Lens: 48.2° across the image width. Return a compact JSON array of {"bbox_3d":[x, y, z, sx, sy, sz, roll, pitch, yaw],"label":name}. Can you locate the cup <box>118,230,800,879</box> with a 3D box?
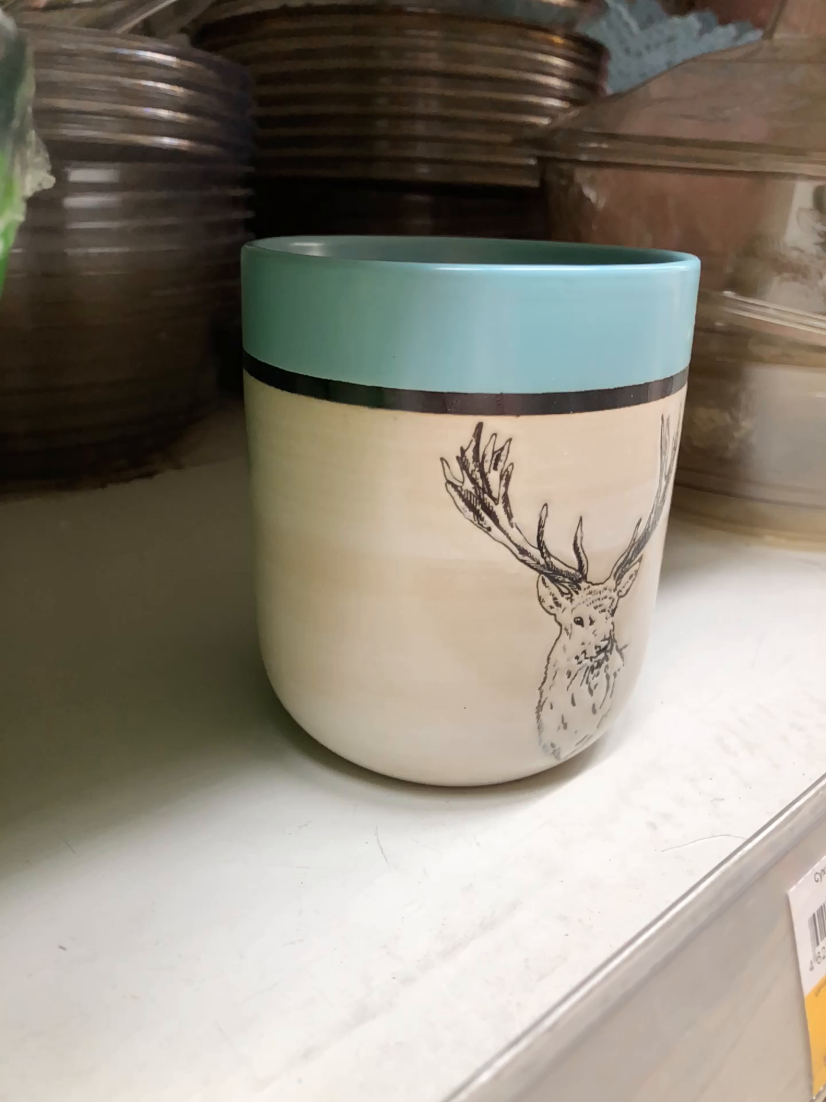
[{"bbox_3d":[0.016,-0.018,0.217,0.093,0.103,0.124,17,26,35],"label":"cup"}]
